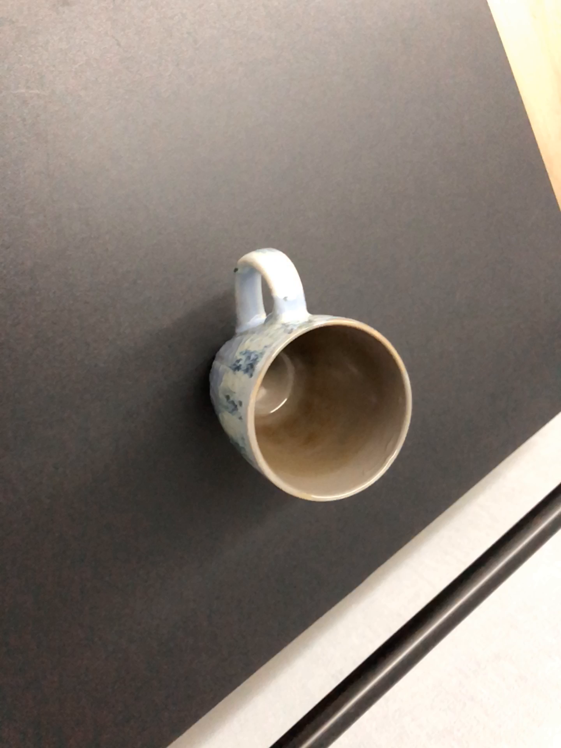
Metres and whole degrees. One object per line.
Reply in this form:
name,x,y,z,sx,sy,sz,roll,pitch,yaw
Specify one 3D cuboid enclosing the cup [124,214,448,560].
cup,-0.001,-0.001,0.310,0.089,0.107,0.120,-27,109,-19
